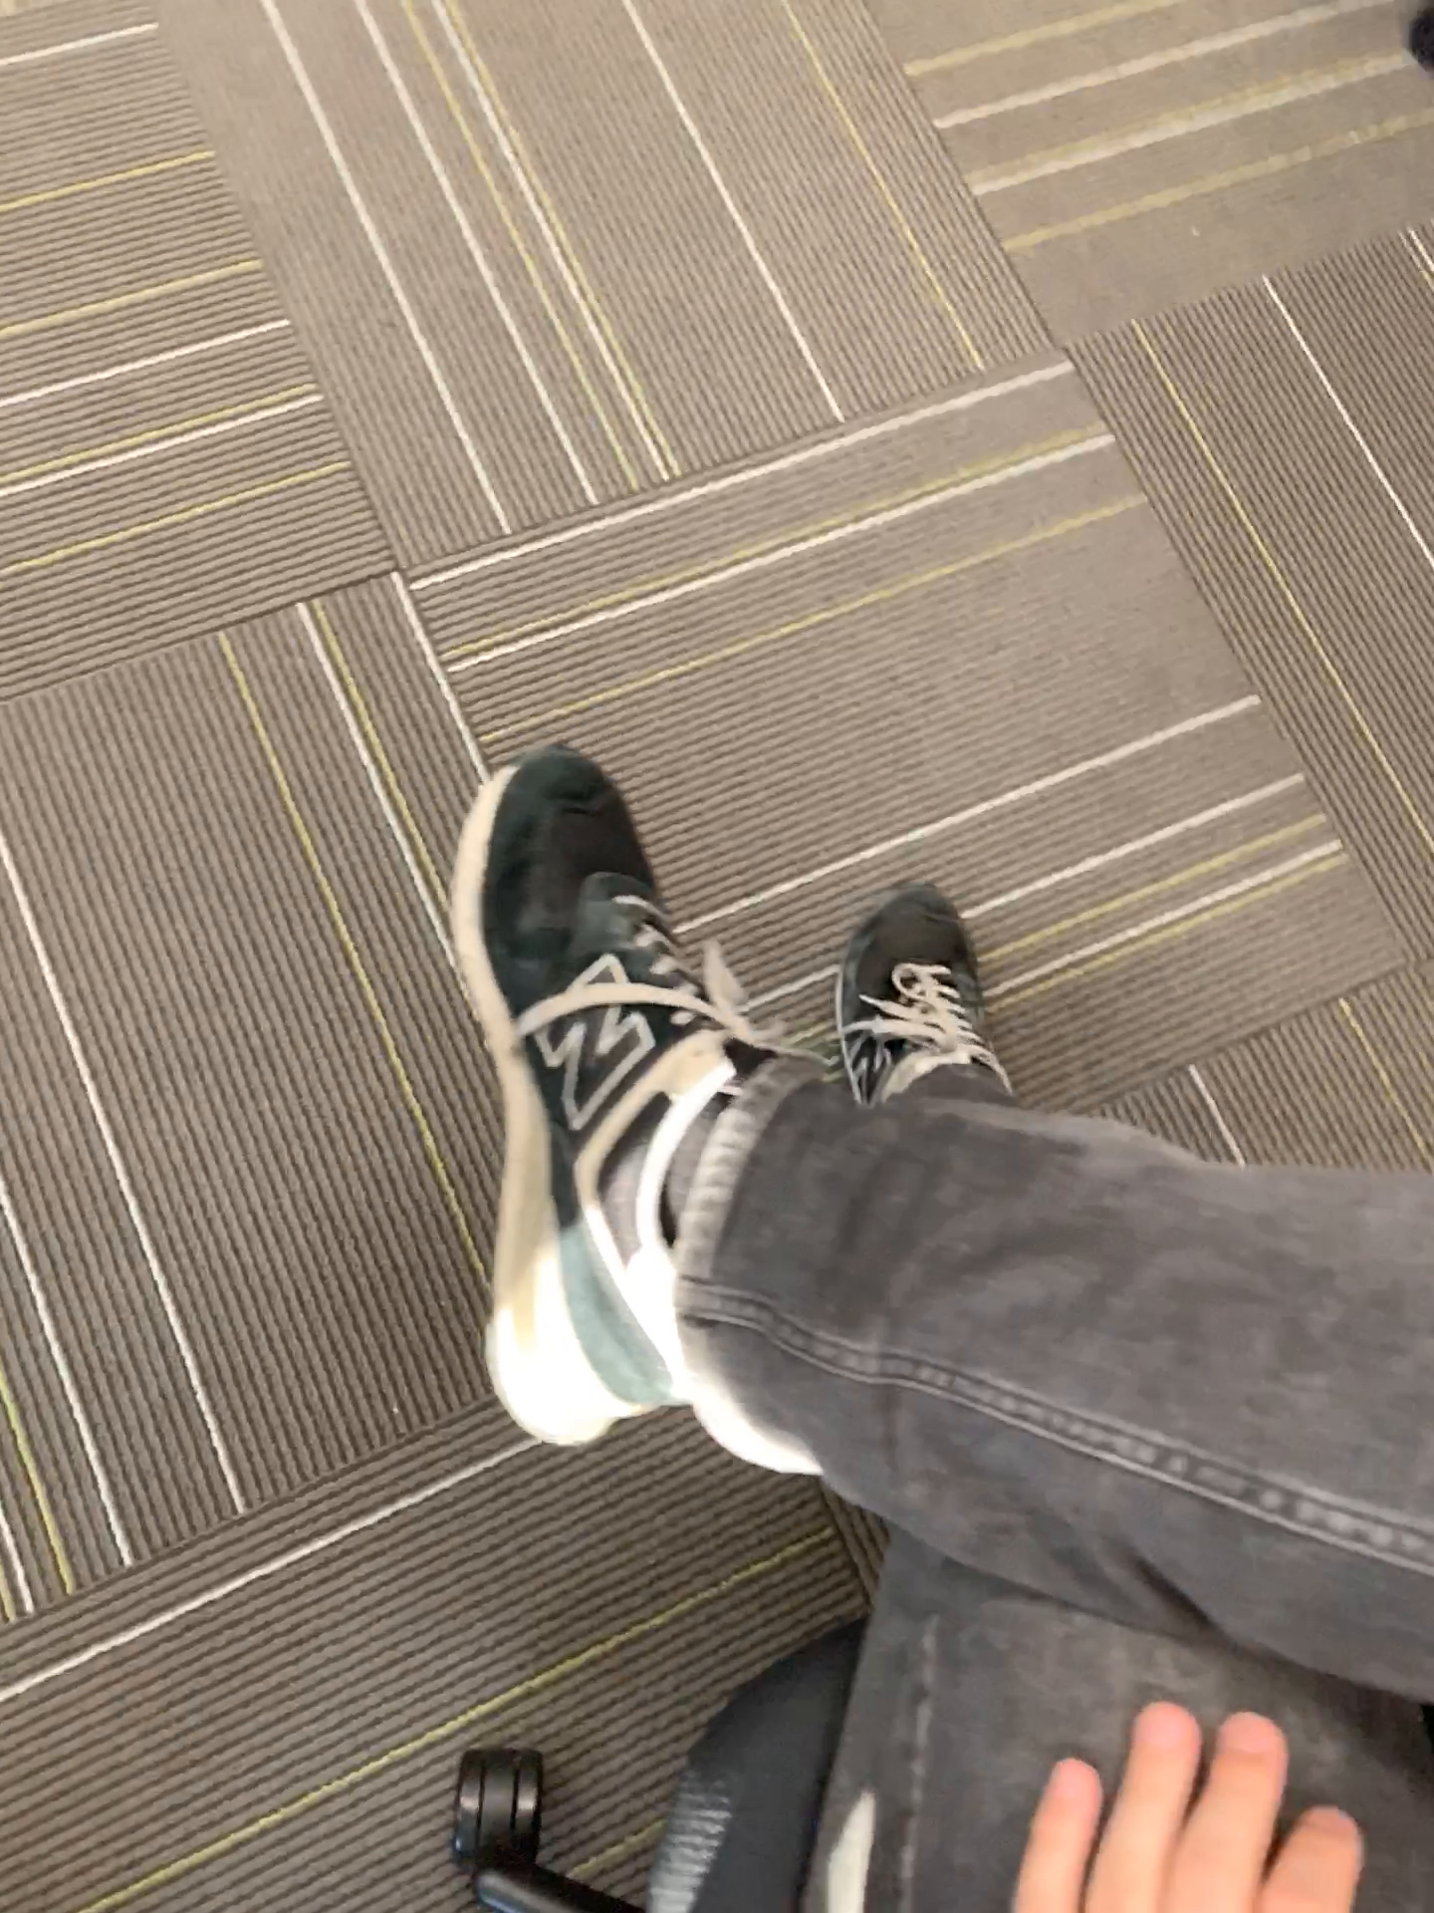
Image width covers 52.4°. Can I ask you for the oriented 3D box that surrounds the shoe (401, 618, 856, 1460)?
[{"bbox_3d":[-0.039,0.040,0.598,0.133,0.115,0.304,-11,73,28],"label":"shoe"}]

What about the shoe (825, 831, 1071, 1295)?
[{"bbox_3d":[0.155,0.078,1.030,0.115,0.133,0.304,-1,75,-7],"label":"shoe"}]
